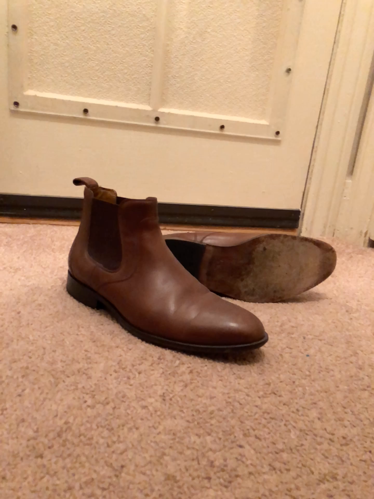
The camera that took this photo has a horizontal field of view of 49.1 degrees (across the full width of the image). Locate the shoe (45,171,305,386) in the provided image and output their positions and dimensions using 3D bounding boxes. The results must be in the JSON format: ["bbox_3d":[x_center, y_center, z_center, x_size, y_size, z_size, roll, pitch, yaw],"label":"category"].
[{"bbox_3d":[-0.033,0.009,0.499,0.296,0.158,0.109,18,20,32],"label":"shoe"}]

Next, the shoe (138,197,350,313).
[{"bbox_3d":[0.075,0.003,0.673,0.296,0.119,0.170,6,16,-8],"label":"shoe"}]
